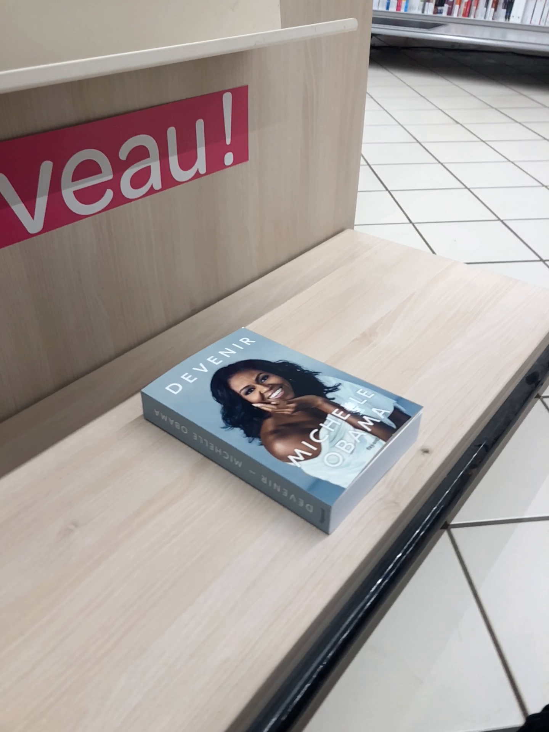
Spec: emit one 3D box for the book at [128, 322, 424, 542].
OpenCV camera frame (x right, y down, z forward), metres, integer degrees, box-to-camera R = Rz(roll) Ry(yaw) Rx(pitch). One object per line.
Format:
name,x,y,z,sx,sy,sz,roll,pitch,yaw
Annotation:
book,-0.001,0.047,0.598,0.240,0.040,0.164,26,42,30
